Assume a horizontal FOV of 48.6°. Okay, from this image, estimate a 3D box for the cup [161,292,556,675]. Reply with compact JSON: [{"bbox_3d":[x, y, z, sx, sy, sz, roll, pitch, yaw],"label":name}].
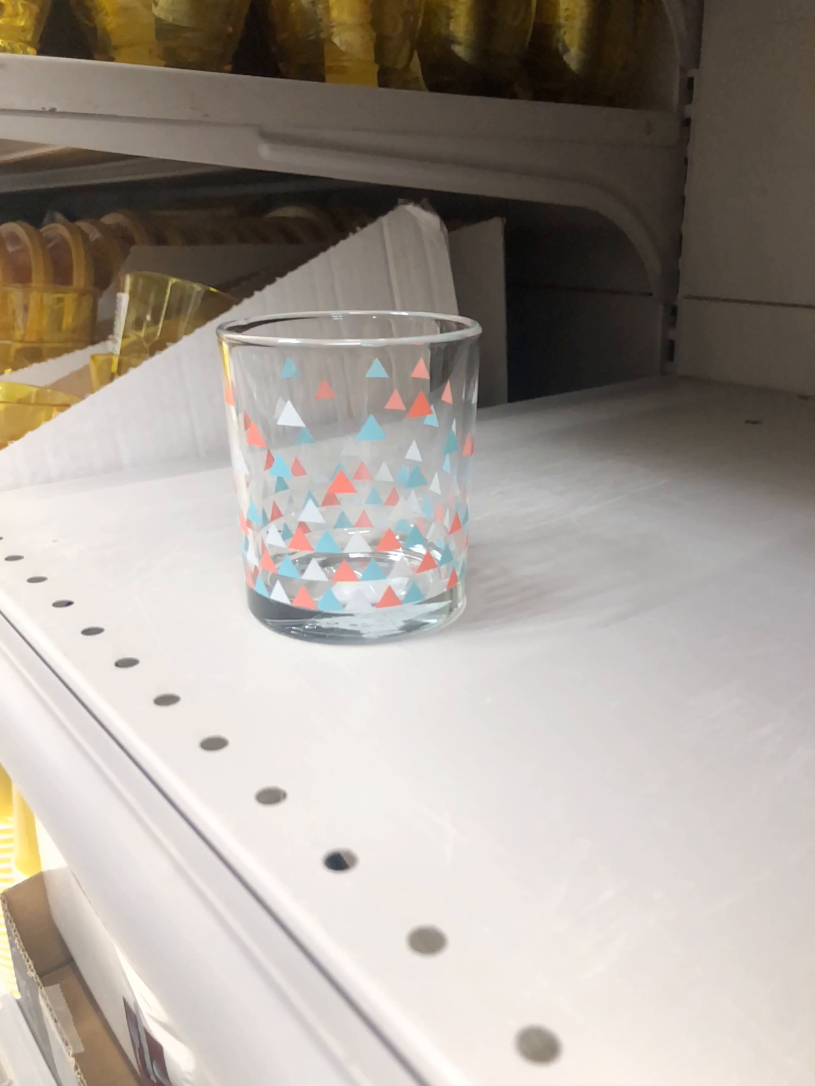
[{"bbox_3d":[-0.015,-0.025,0.254,0.077,0.081,0.076,-1,19,0],"label":"cup"}]
